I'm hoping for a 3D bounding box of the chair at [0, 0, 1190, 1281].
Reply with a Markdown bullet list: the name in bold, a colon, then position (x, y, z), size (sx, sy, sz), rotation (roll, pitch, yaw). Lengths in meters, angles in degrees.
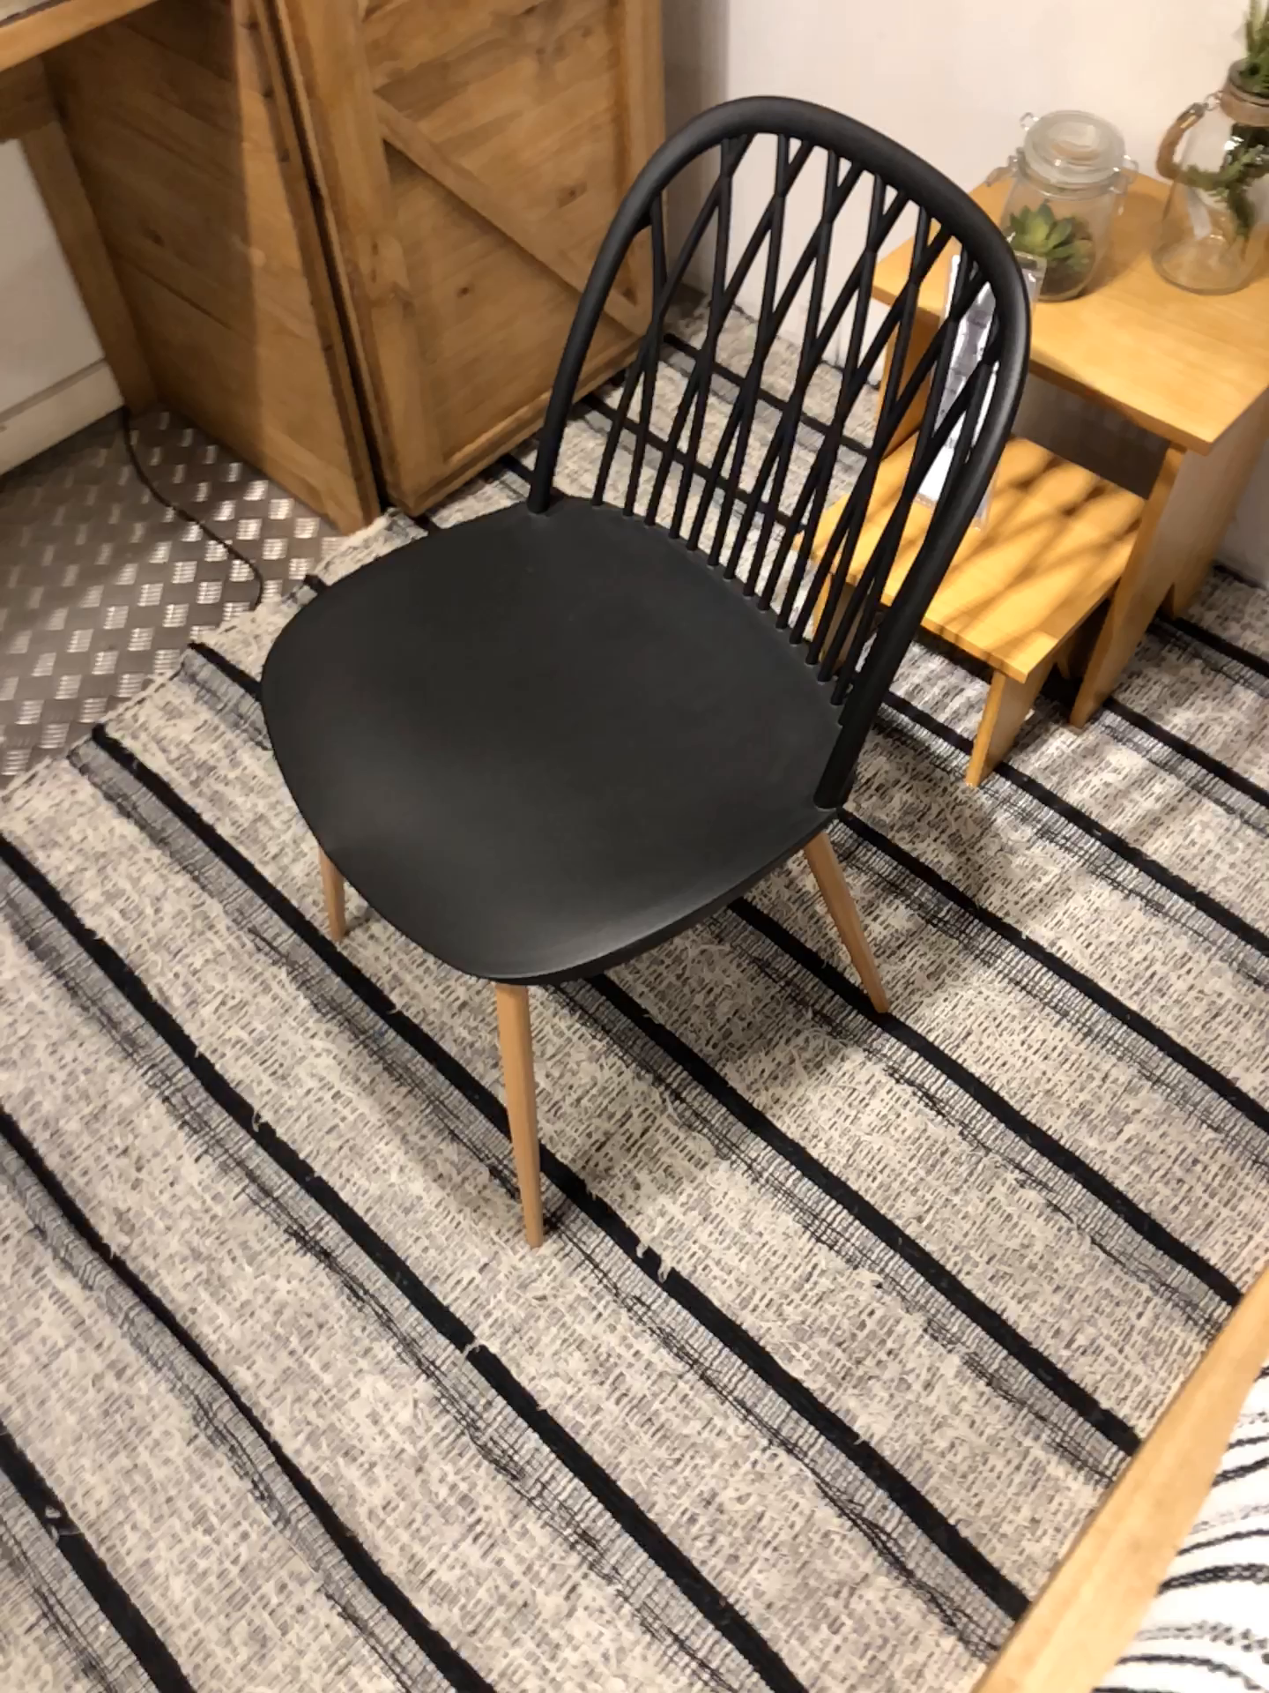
- **chair**: position (-0.030, -0.116, 1.141), size (0.541, 0.776, 0.472), rotation (-30, 59, -18)
